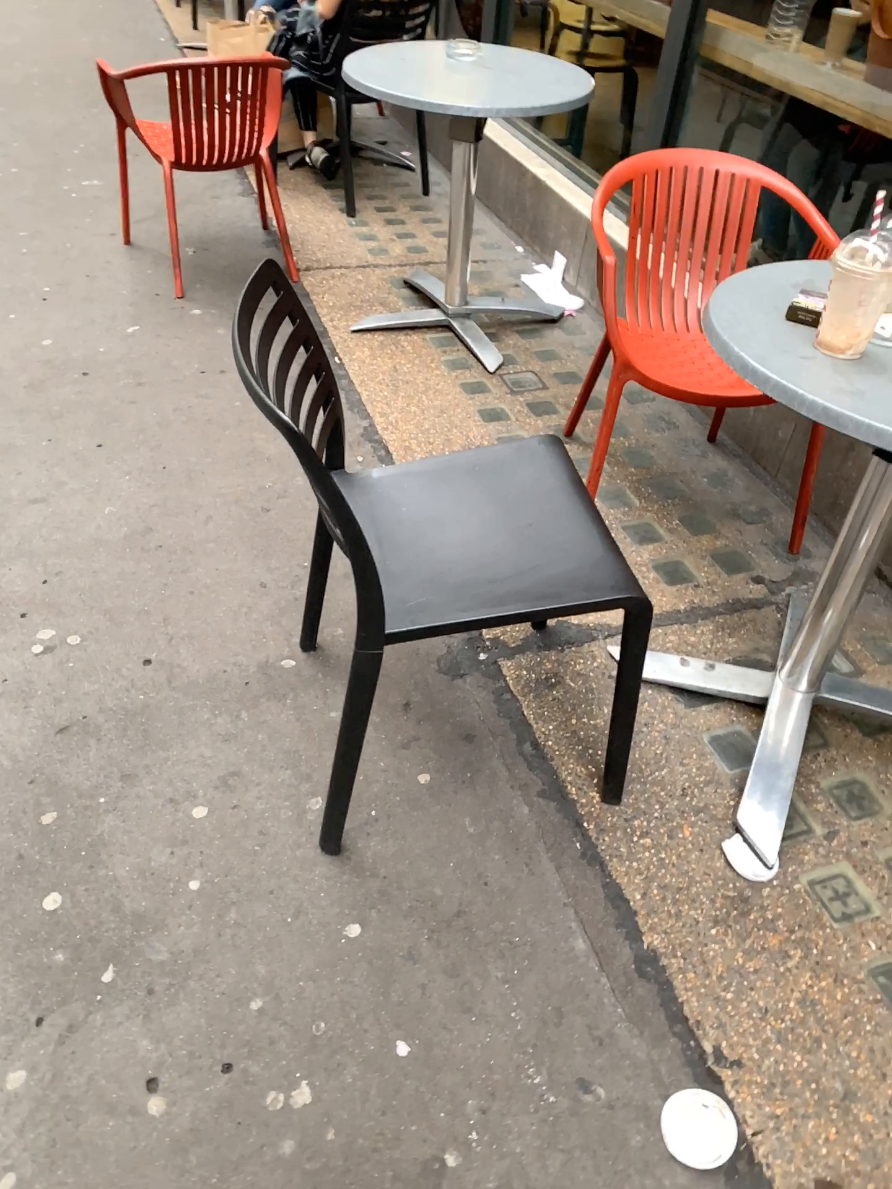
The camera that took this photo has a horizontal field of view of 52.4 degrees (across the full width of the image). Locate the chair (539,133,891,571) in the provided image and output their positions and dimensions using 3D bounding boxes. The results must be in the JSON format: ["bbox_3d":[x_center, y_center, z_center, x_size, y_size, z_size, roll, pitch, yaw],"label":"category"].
[{"bbox_3d":[0.601,-0.551,2.084,0.570,0.742,0.647,1,40,-7],"label":"chair"}]

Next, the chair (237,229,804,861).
[{"bbox_3d":[0.022,-0.087,1.409,0.600,0.752,0.555,-5,41,-14],"label":"chair"}]
